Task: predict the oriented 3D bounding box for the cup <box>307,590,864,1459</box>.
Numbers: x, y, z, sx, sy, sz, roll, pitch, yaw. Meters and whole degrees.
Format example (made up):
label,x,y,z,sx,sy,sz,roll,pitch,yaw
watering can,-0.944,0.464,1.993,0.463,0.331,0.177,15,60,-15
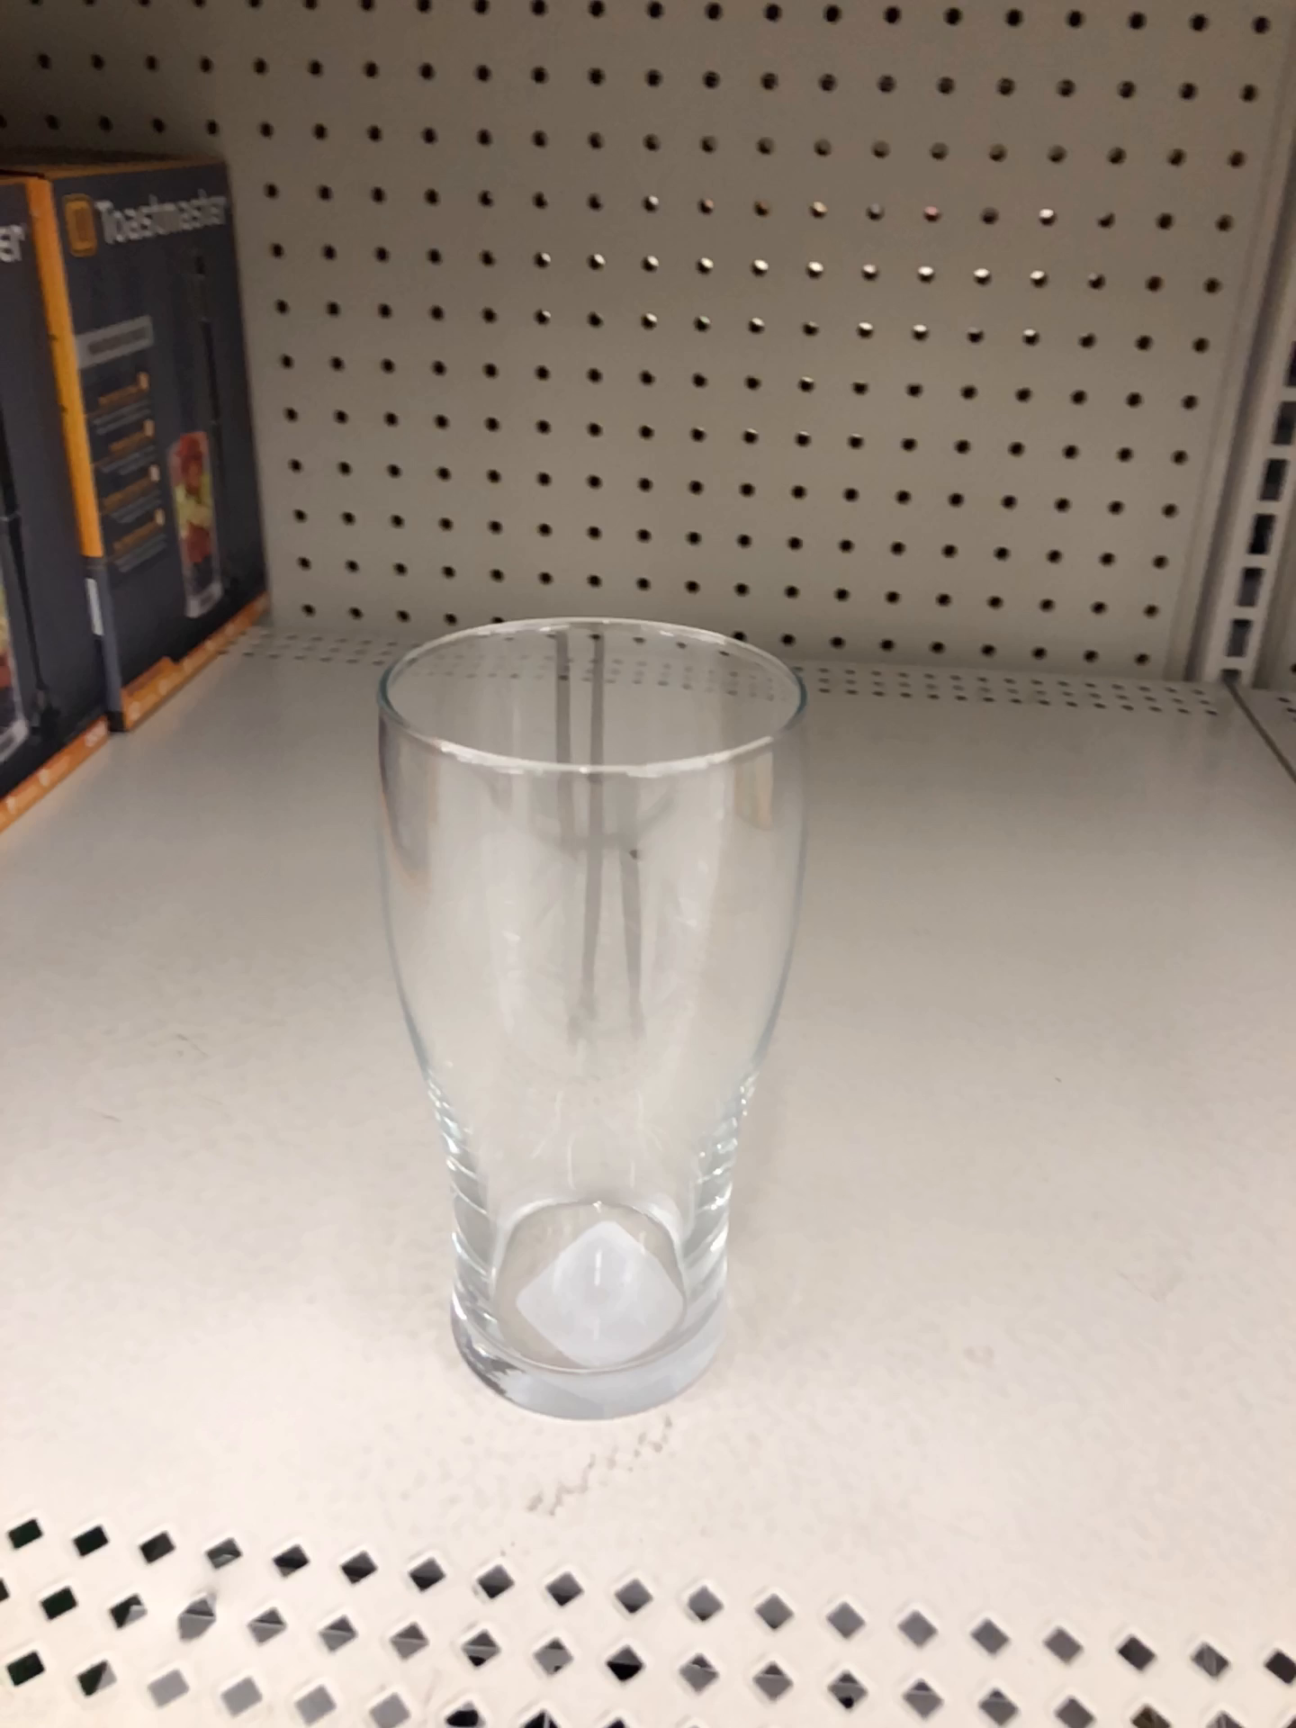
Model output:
label,x,y,z,sx,sy,sz,roll,pitch,yaw
cup,-0.007,0.028,0.285,0.076,0.138,0.081,1,27,0
